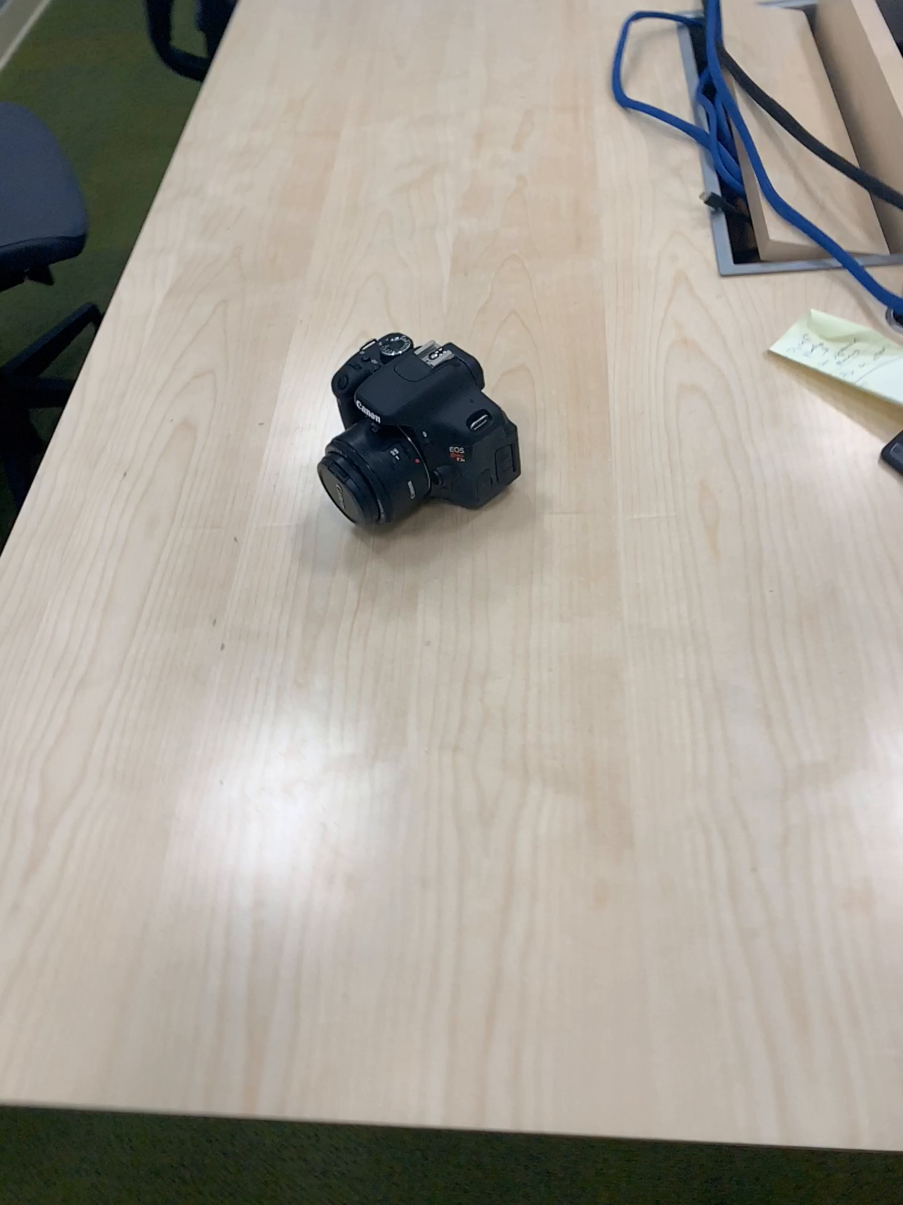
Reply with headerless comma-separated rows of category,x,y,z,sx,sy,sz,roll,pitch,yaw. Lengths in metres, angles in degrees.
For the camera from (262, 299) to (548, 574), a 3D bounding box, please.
camera,-0.030,-0.120,0.651,0.131,0.080,0.141,-39,58,-19
